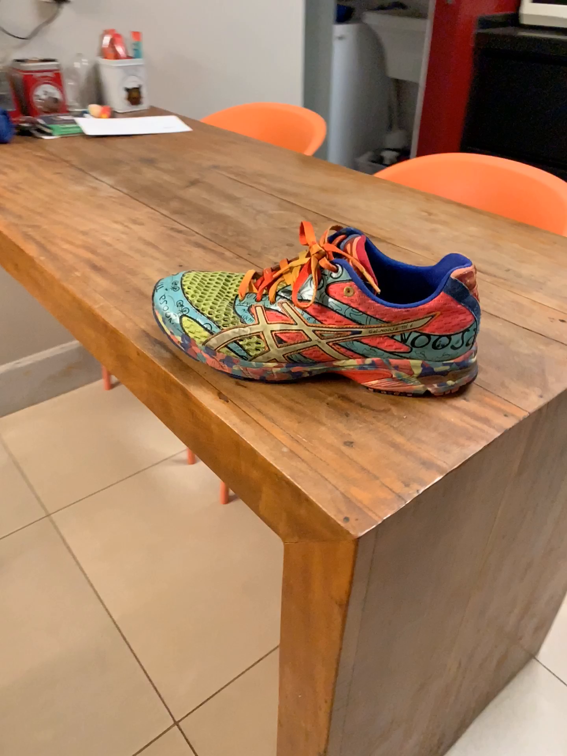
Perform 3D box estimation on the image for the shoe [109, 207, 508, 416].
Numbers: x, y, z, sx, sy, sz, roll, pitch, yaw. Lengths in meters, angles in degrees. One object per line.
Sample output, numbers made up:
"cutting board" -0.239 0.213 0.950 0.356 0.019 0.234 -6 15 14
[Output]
"shoe" 0.021 -0.066 0.524 0.310 0.118 0.111 7 36 9
